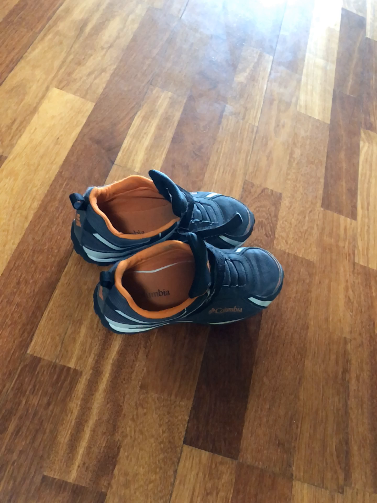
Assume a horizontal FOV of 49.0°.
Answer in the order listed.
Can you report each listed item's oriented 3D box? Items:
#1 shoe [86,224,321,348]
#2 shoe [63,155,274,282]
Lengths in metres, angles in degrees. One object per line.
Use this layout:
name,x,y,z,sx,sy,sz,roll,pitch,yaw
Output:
shoe,0.010,0.039,0.493,0.247,0.102,0.097,-3,64,-18
shoe,-0.036,-0.044,0.565,0.252,0.126,0.112,-3,64,-18
